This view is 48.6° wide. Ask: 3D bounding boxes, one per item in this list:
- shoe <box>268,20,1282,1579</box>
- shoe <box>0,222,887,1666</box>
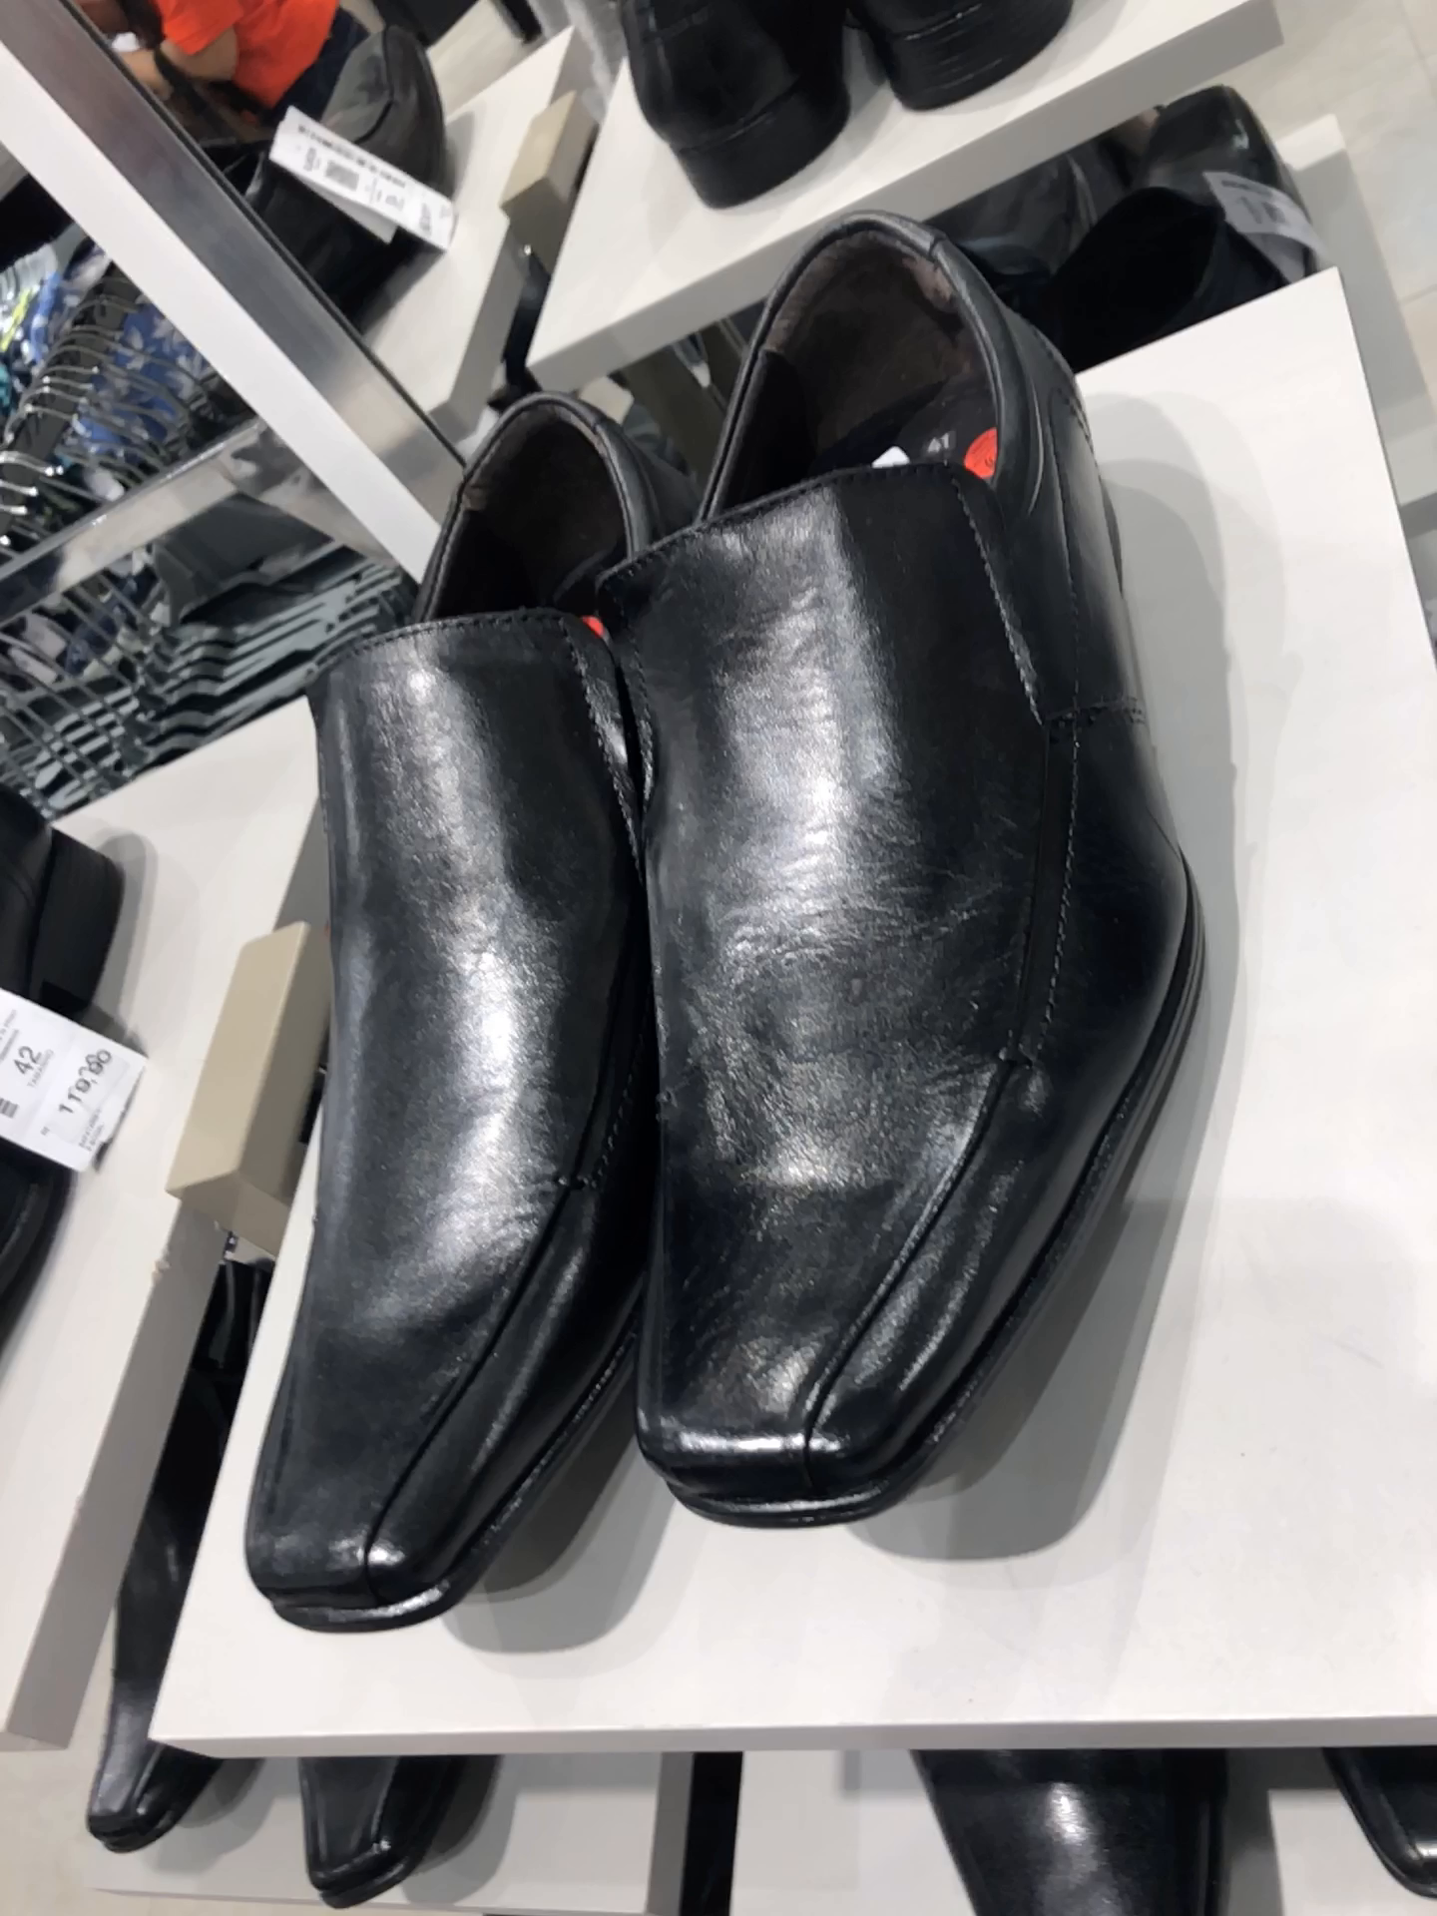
[{"bbox_3d":[0.028,-0.040,0.308,0.110,0.099,0.281,-15,48,31],"label":"shoe"},{"bbox_3d":[-0.046,-0.016,0.356,0.110,0.099,0.301,-15,48,31],"label":"shoe"}]
